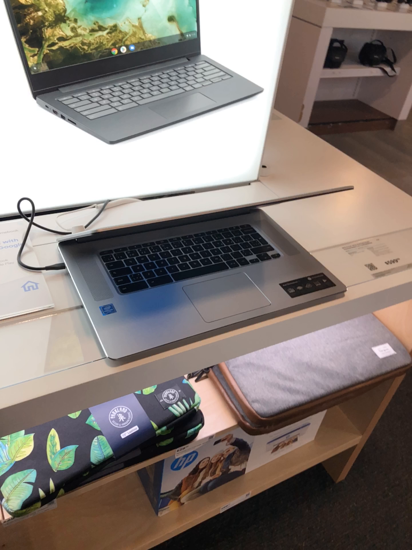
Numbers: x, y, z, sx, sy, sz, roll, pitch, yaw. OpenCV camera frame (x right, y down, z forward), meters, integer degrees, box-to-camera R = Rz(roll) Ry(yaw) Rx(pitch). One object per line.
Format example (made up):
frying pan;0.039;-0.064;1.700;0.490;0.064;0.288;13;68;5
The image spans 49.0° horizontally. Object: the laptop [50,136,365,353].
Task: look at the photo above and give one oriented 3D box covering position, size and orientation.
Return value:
laptop;-0.002;-0.072;0.651;0.365;0.146;0.231;-13;44;-28
